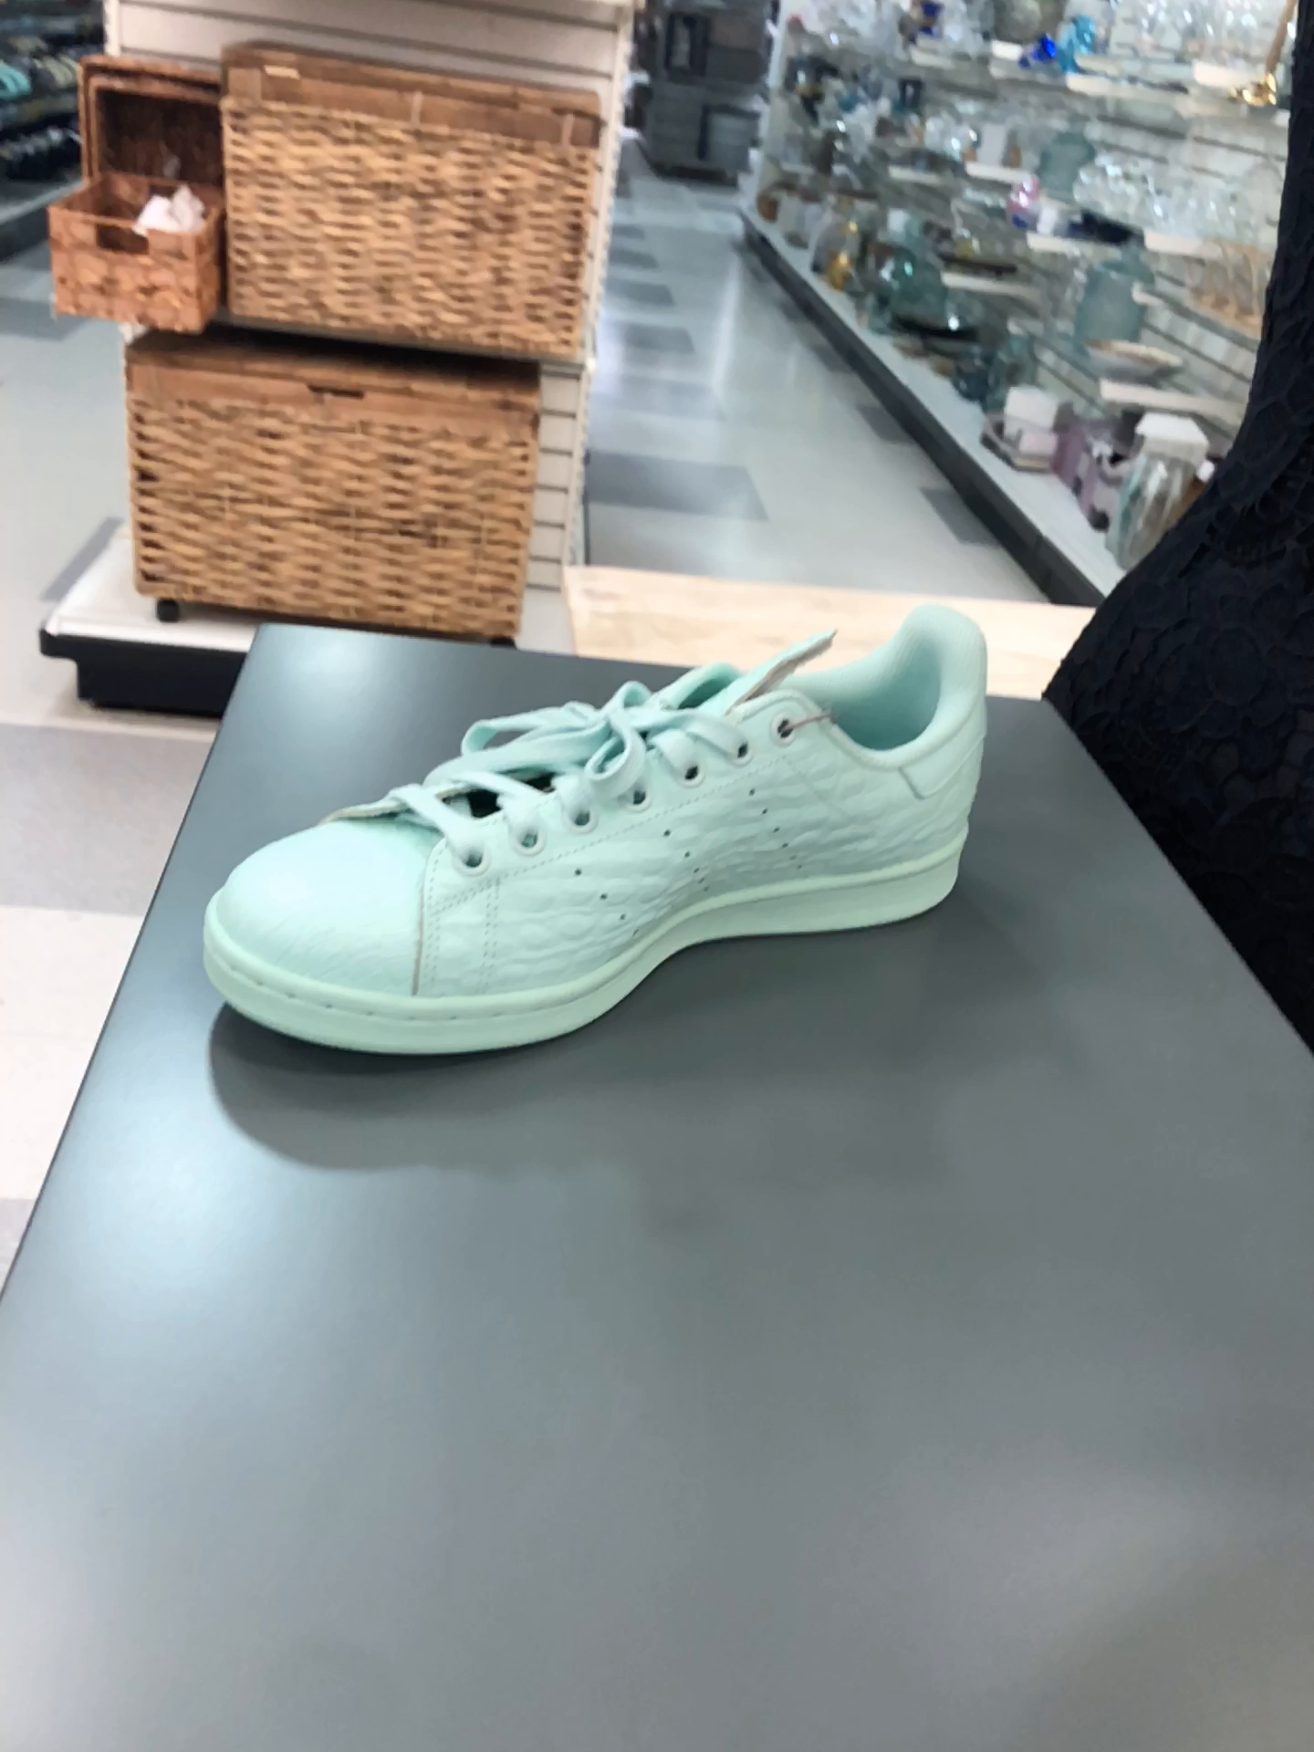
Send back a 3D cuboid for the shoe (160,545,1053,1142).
[{"bbox_3d":[-0.013,-0.026,0.462,0.252,0.112,0.106,-12,36,-33],"label":"shoe"}]
